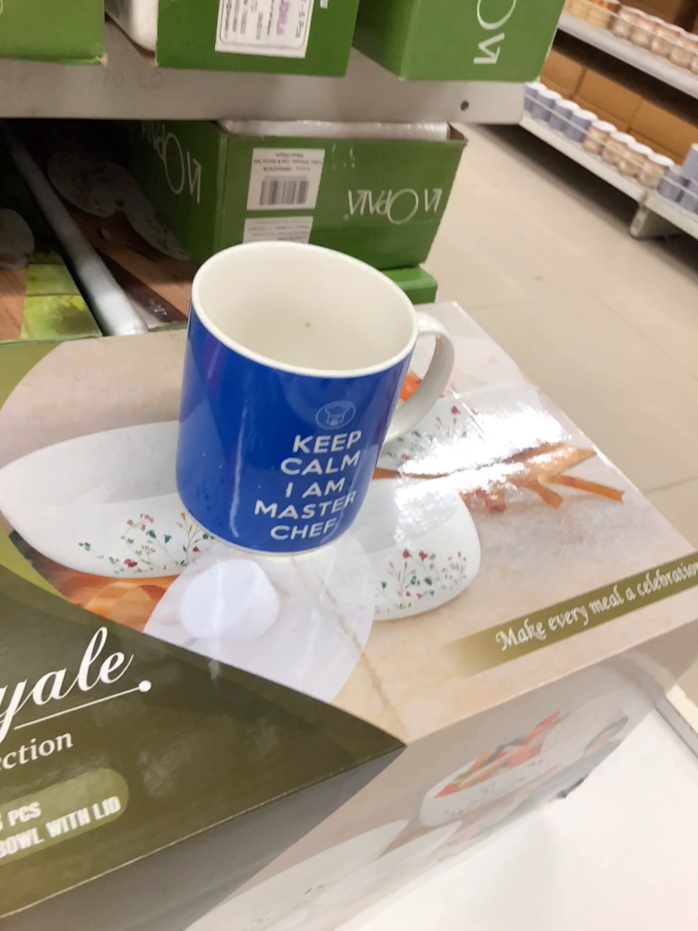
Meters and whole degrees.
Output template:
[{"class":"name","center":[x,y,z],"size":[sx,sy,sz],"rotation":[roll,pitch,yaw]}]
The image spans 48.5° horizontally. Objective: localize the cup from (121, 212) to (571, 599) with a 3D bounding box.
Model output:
[{"class":"cup","center":[-0.010,-0.034,0.332],"size":[0.141,0.099,0.110],"rotation":[-12,48,-29]}]
